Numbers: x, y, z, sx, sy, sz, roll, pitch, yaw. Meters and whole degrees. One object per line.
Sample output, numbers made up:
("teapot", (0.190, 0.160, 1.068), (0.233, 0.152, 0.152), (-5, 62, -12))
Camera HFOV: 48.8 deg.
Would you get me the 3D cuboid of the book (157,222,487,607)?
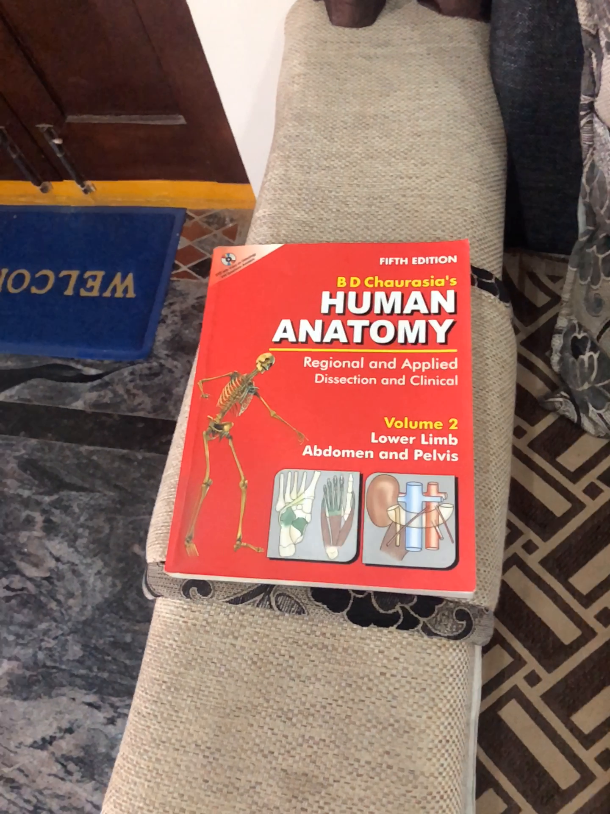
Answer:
("book", (0.022, -0.007, 0.516), (0.220, 0.040, 0.290), (1, 67, 11))
